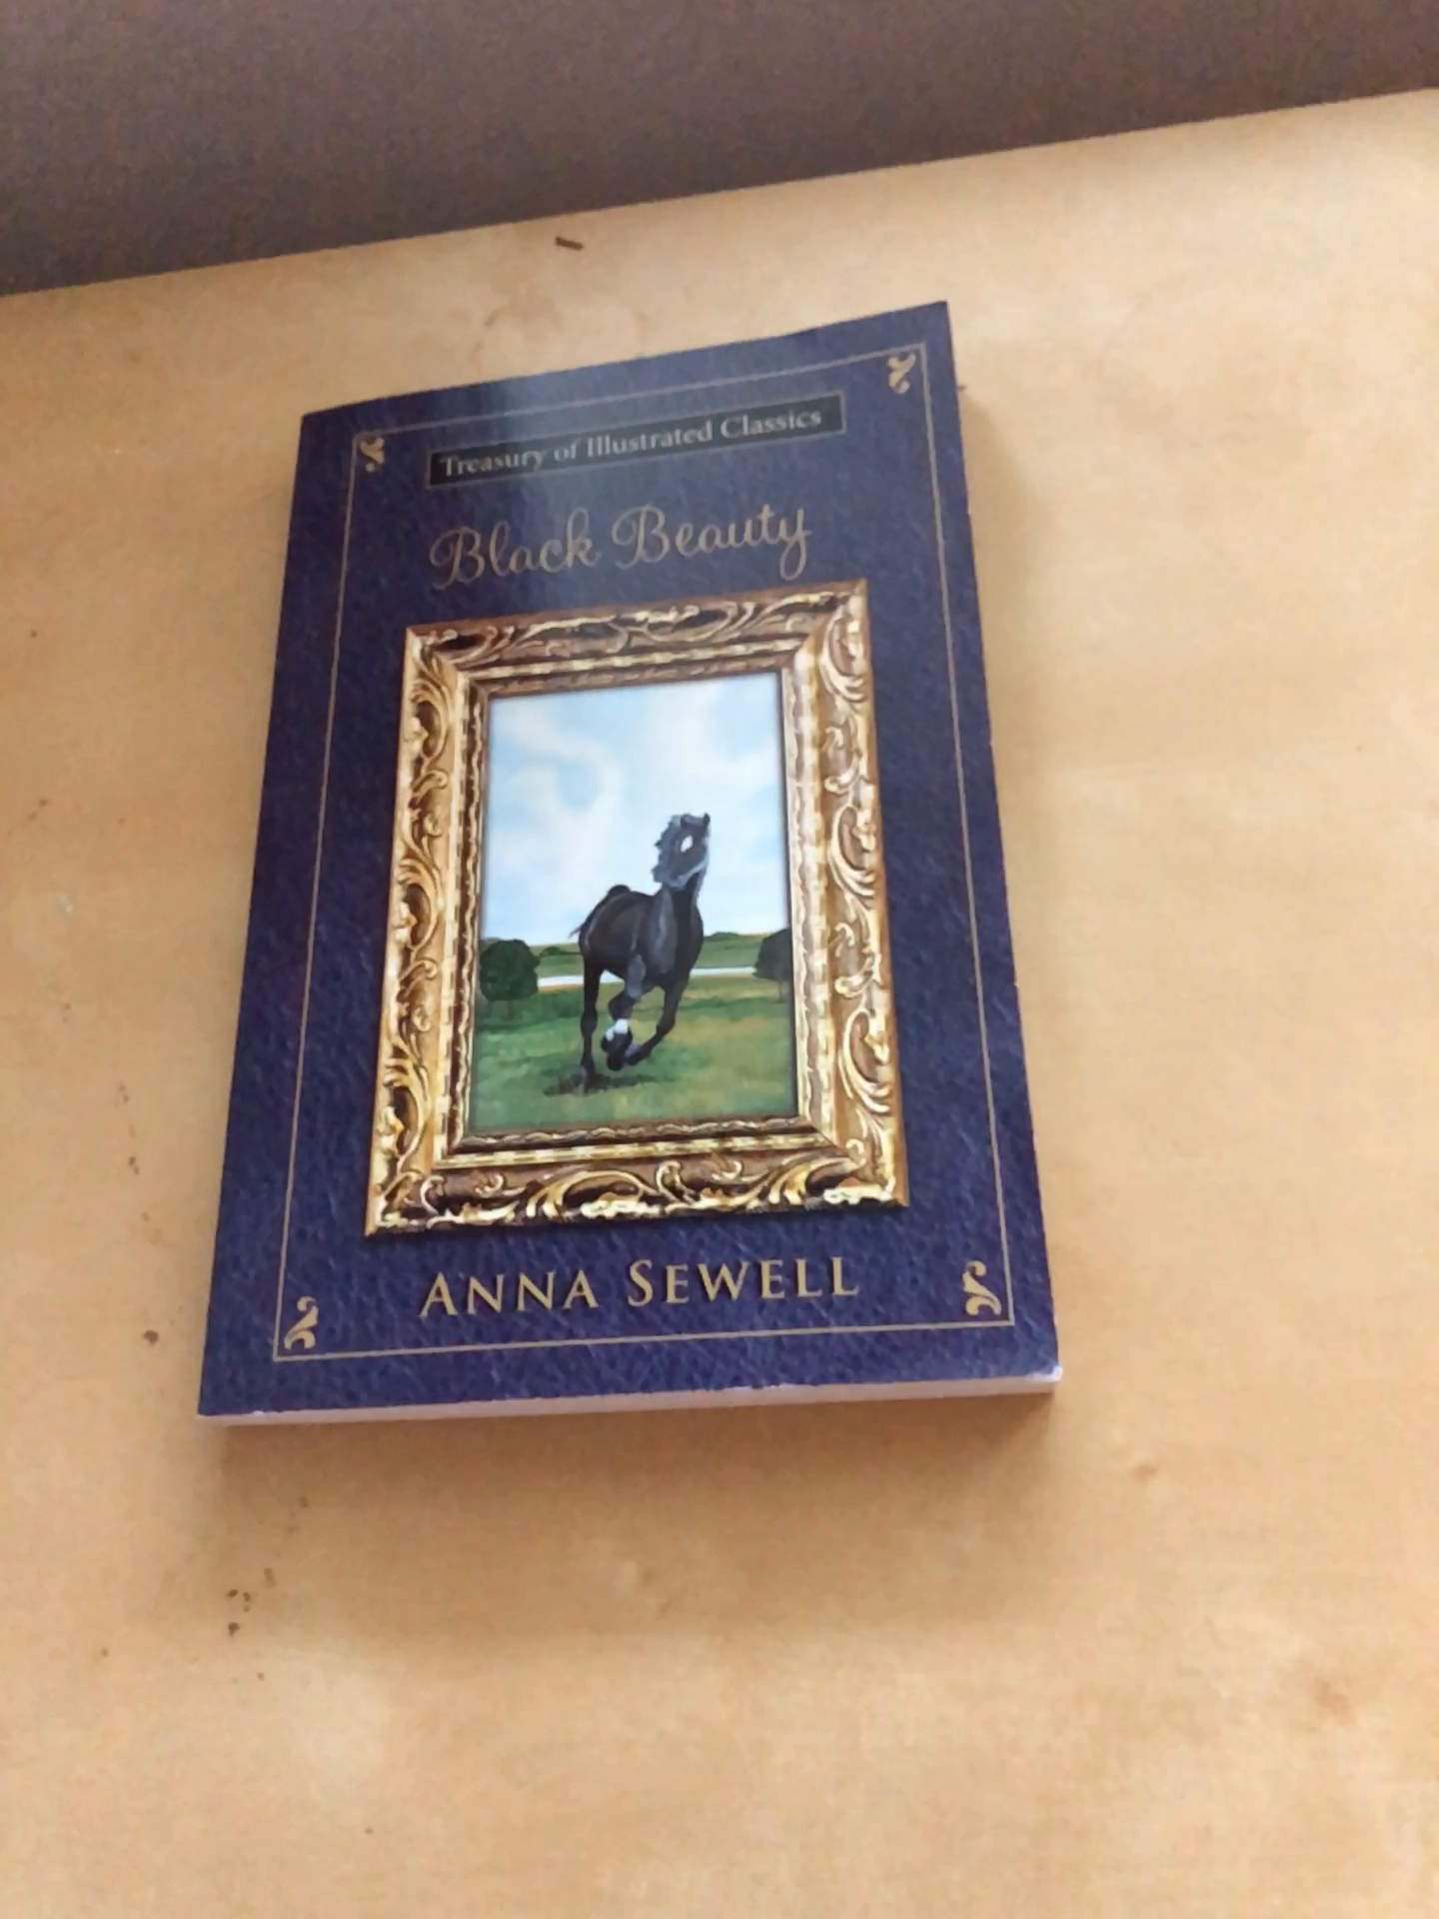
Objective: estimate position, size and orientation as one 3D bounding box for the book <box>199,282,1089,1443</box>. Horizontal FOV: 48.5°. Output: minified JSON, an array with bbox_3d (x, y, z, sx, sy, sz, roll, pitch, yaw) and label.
[{"bbox_3d":[-0.013,-0.022,0.269,0.126,0.025,0.193,-5,67,9],"label":"book"}]
